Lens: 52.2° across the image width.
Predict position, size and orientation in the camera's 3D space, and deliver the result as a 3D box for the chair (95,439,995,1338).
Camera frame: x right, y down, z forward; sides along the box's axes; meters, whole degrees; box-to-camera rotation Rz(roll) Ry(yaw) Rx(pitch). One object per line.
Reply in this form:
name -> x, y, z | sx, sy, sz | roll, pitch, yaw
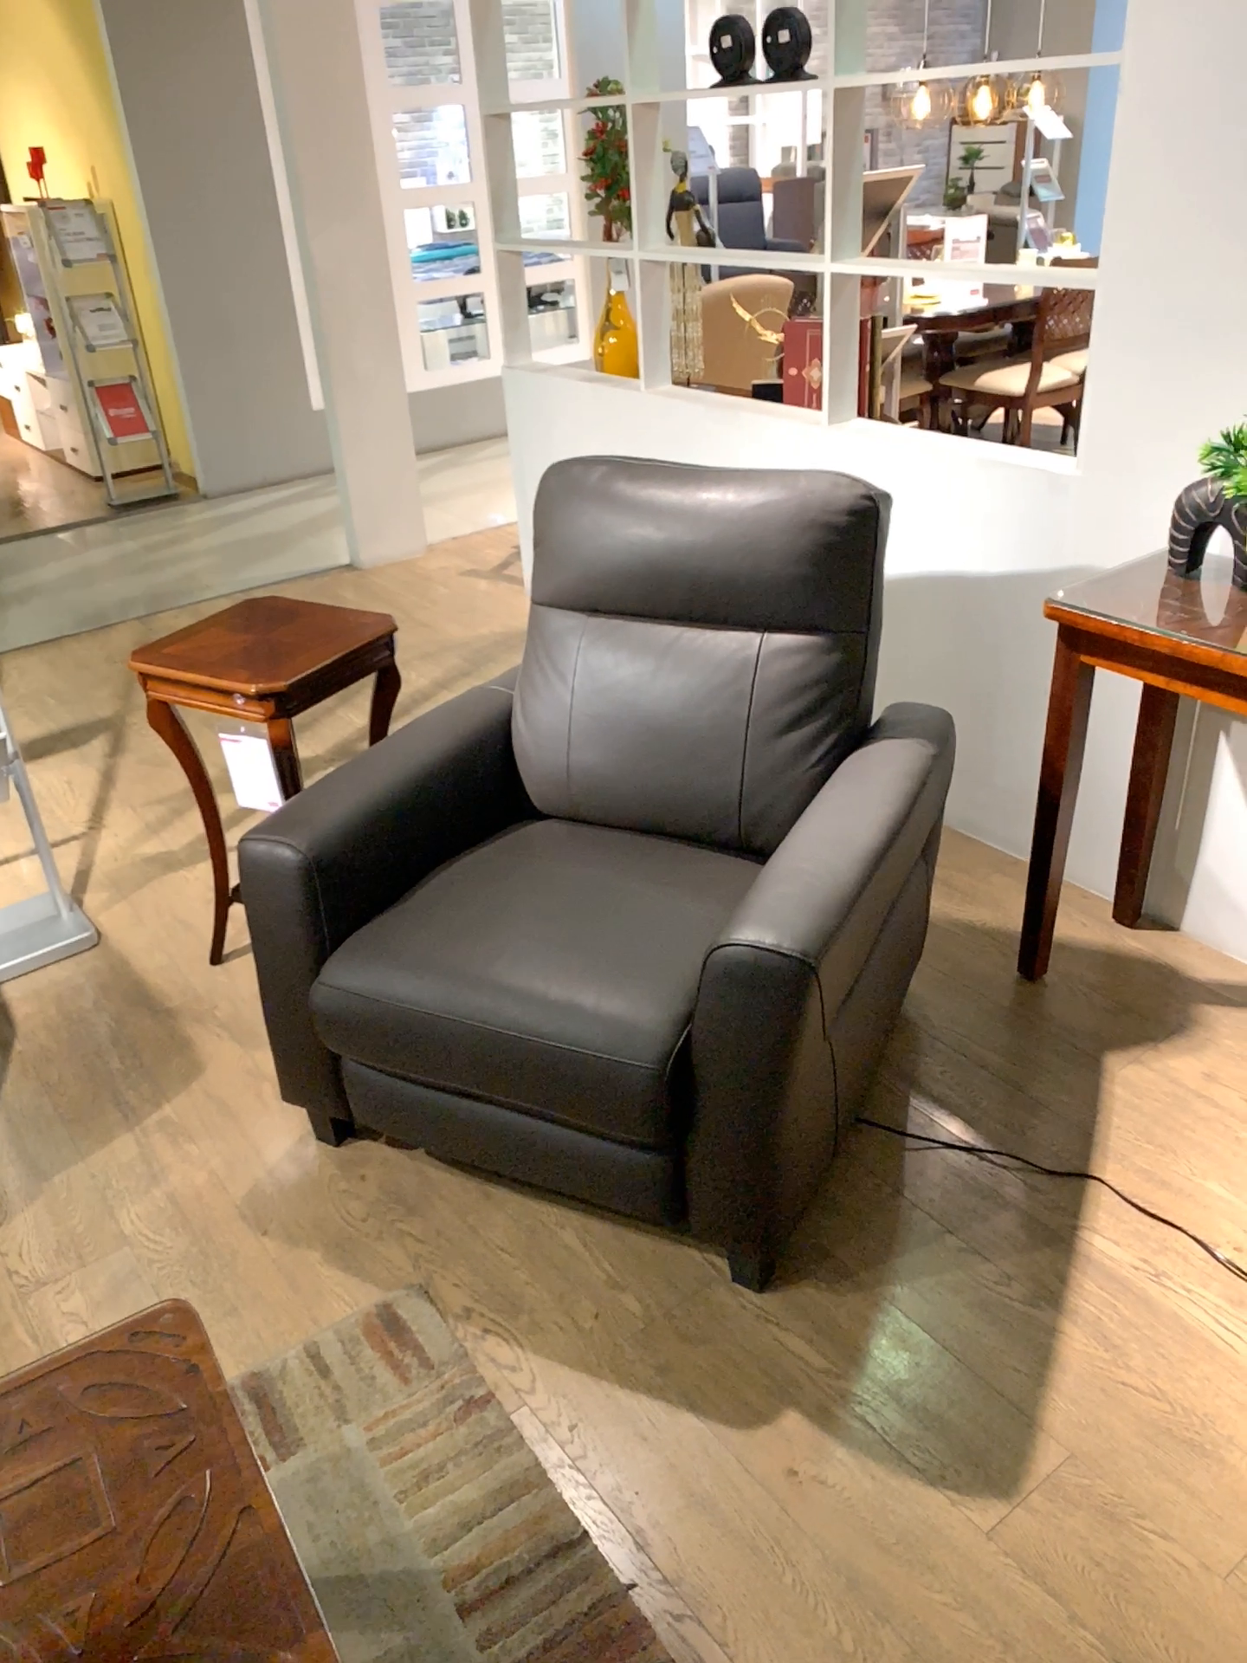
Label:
chair -> -0.028, -0.026, 2.018 | 0.941, 0.926, 0.923 | 11, 32, 25
